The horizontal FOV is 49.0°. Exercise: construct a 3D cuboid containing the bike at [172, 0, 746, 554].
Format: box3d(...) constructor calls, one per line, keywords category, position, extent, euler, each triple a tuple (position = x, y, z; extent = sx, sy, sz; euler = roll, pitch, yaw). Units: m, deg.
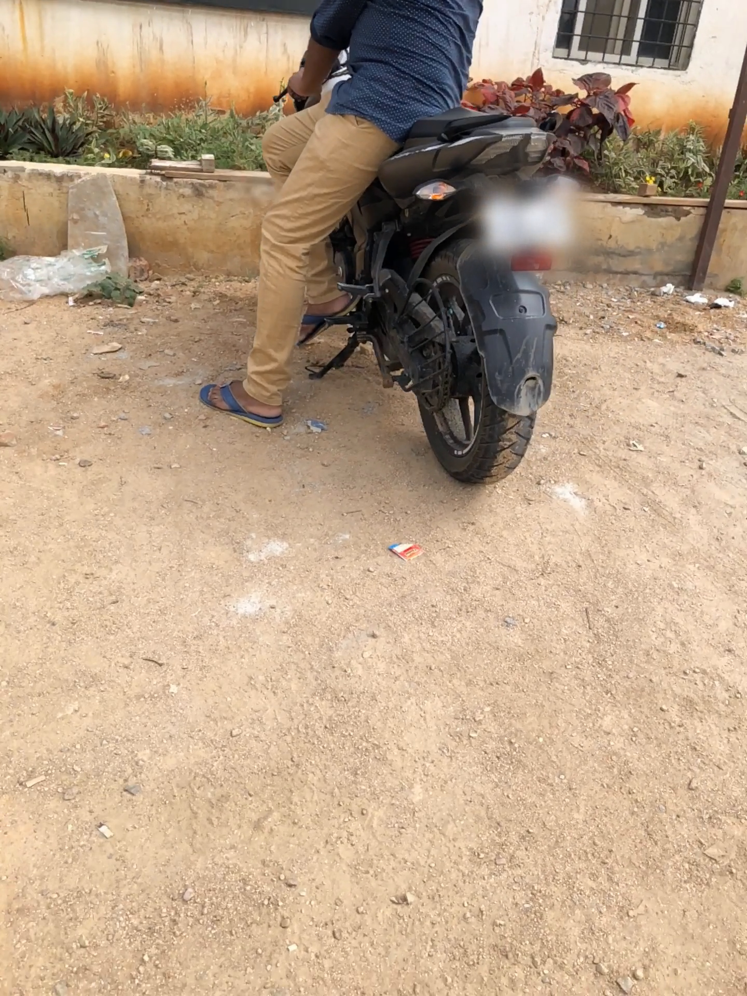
box3d(category="bike", position=(0.012, -0.901, 2.410), extent=(0.781, 1.122, 1.856), euler=(-7, 34, -22))
